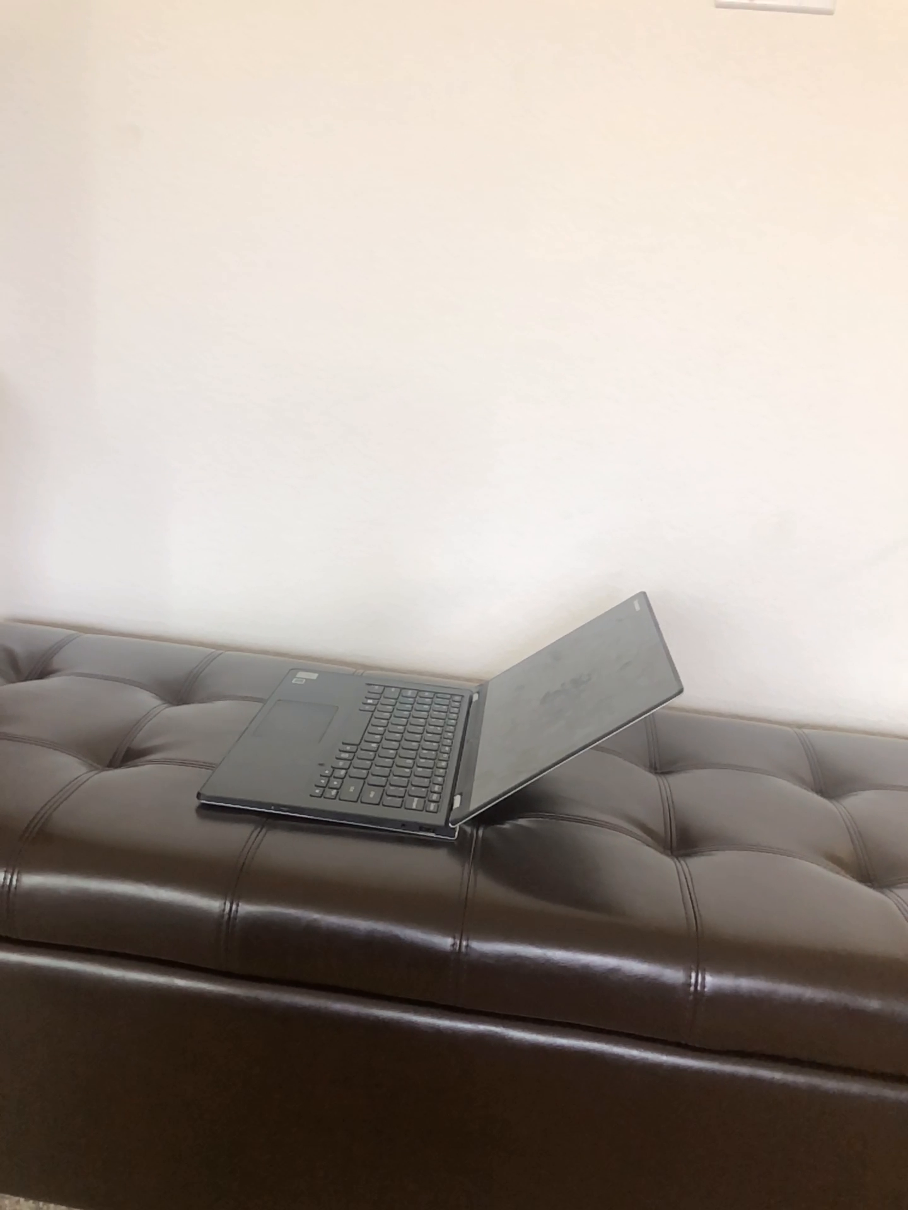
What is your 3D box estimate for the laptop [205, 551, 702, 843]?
[{"bbox_3d":[0.004,0.055,0.784,0.317,0.115,0.262,6,15,3],"label":"laptop"}]
